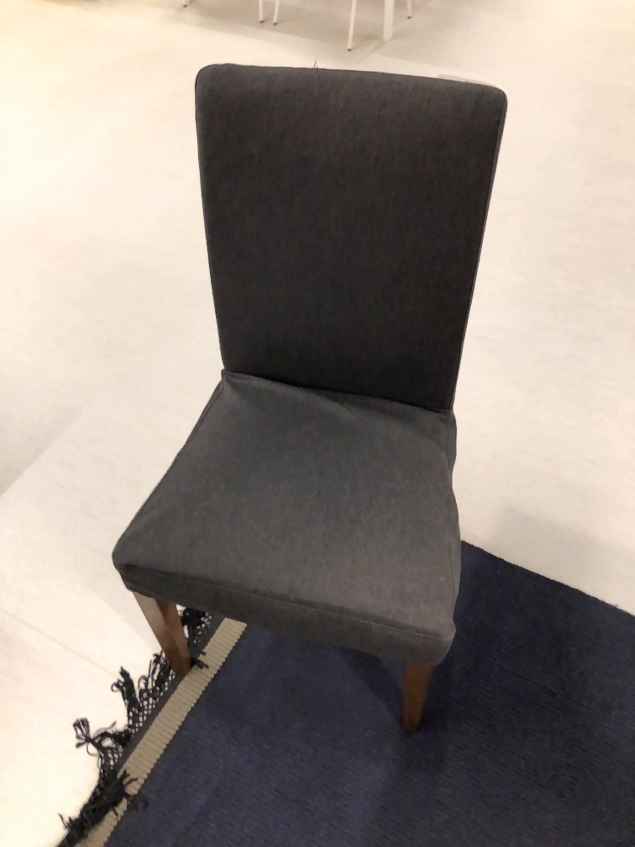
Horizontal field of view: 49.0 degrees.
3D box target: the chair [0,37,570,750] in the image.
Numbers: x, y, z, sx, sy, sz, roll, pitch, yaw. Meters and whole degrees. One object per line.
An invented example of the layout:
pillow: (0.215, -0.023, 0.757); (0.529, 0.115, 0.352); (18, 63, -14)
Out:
chair: (-0.004, 0.027, 1.118); (0.540, 0.964, 0.553); (11, 51, 11)
